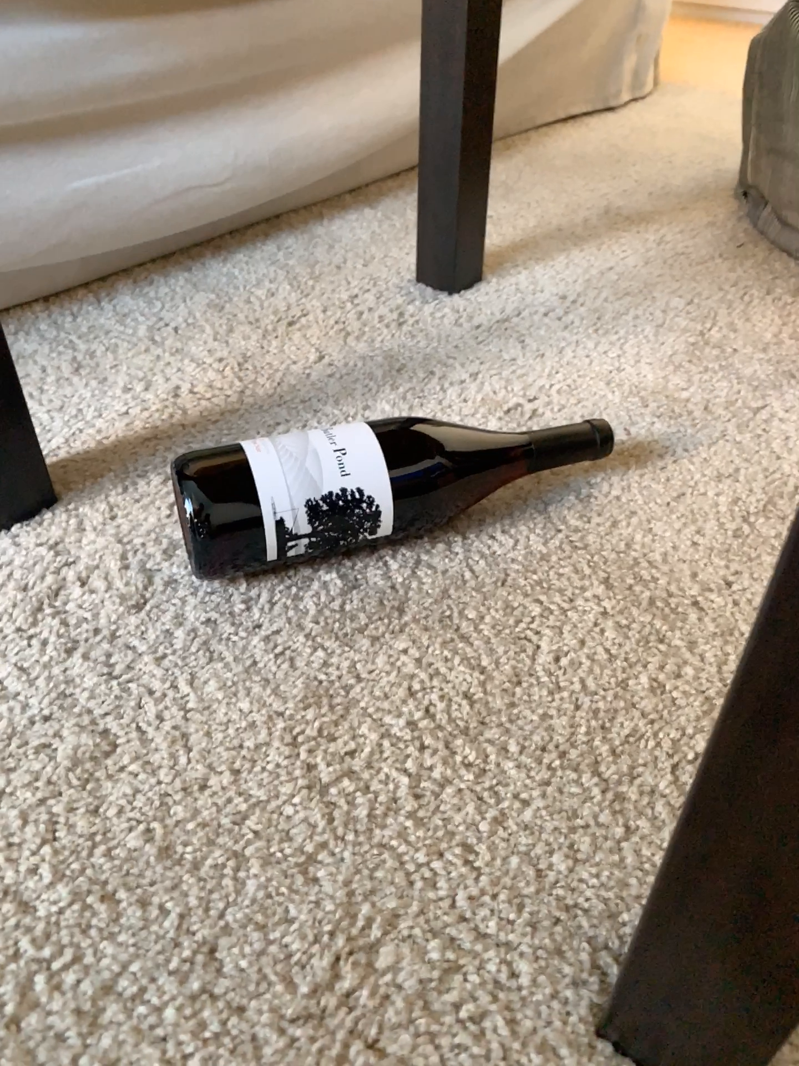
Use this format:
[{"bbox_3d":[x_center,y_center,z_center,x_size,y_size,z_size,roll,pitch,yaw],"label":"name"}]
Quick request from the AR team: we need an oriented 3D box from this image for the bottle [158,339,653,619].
[{"bbox_3d":[0.005,-0.037,0.514,0.280,0.080,0.080,-15,61,-14],"label":"bottle"}]
